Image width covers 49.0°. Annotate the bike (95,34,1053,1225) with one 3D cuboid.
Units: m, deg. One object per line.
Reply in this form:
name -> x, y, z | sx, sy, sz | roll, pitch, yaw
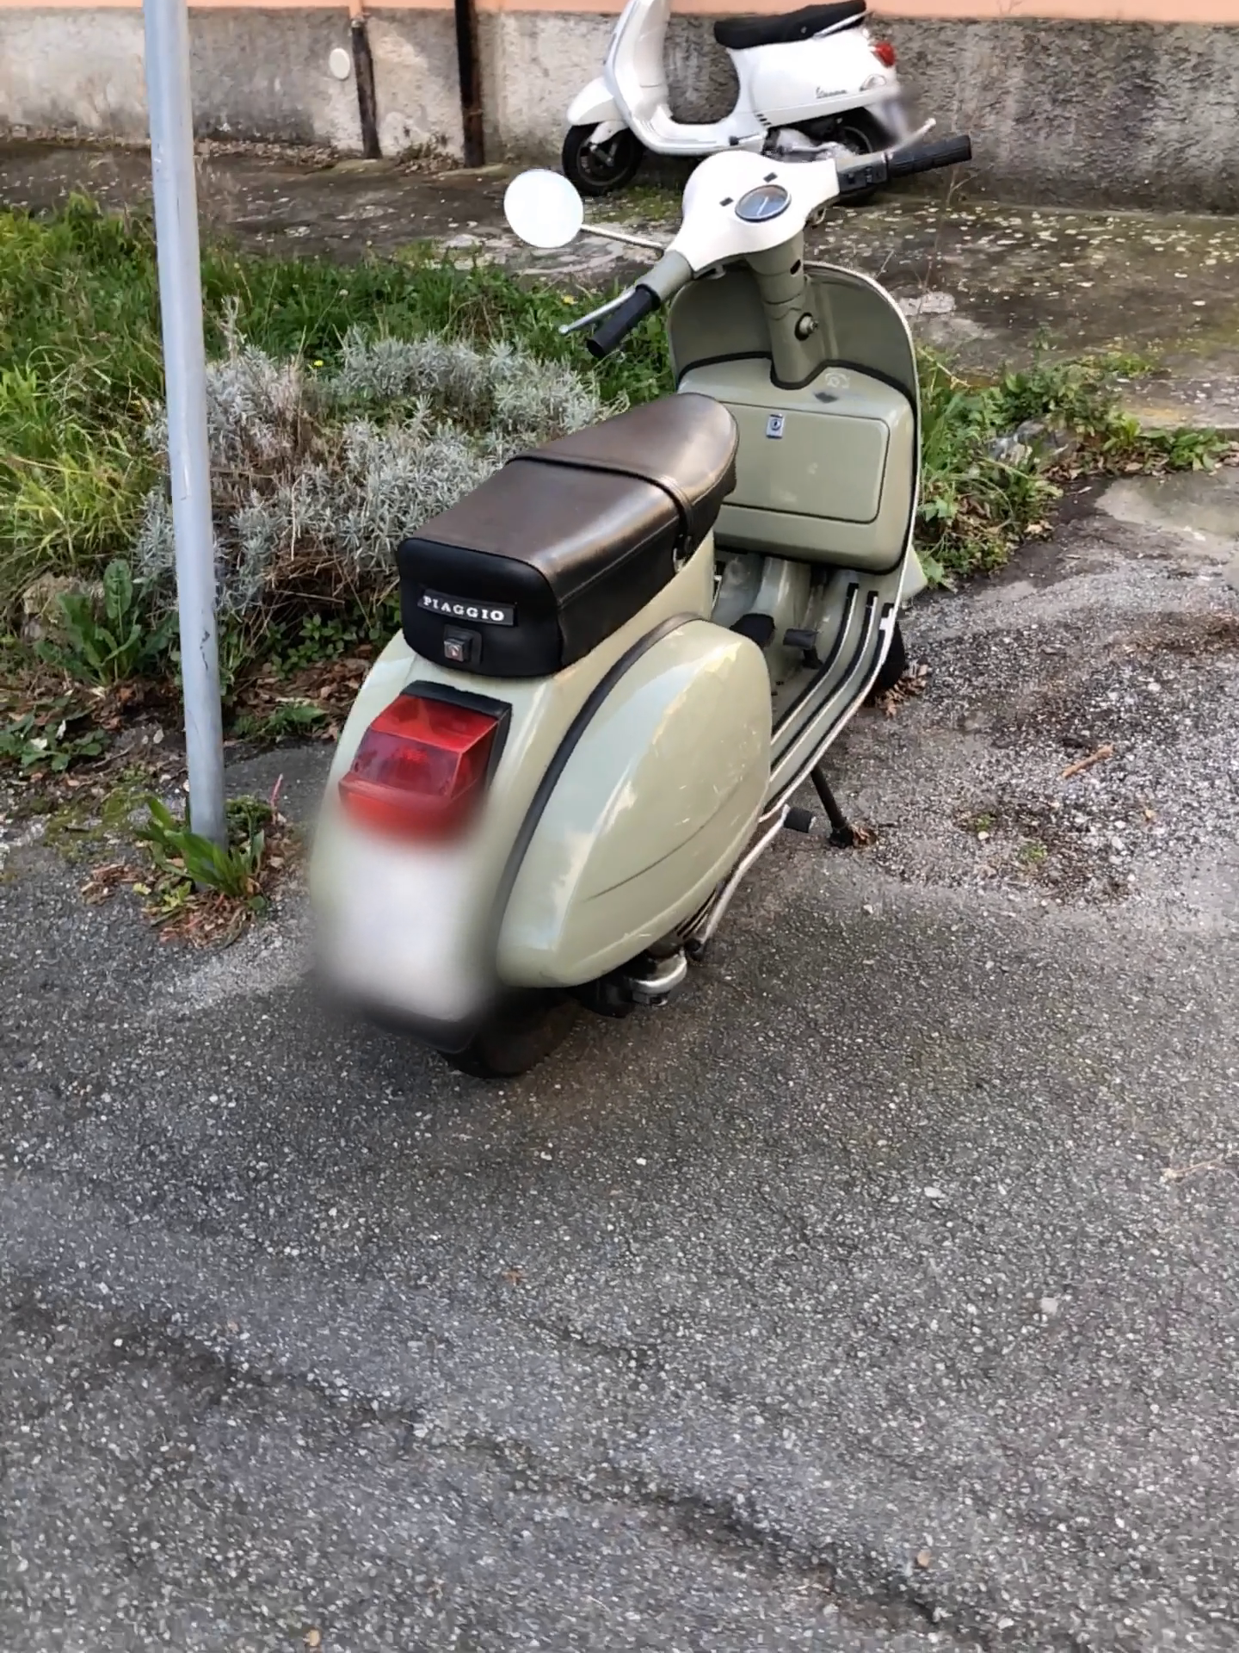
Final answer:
bike -> 0.082, -0.430, 1.973 | 0.621, 1.027, 1.448 | 15, 40, 19
